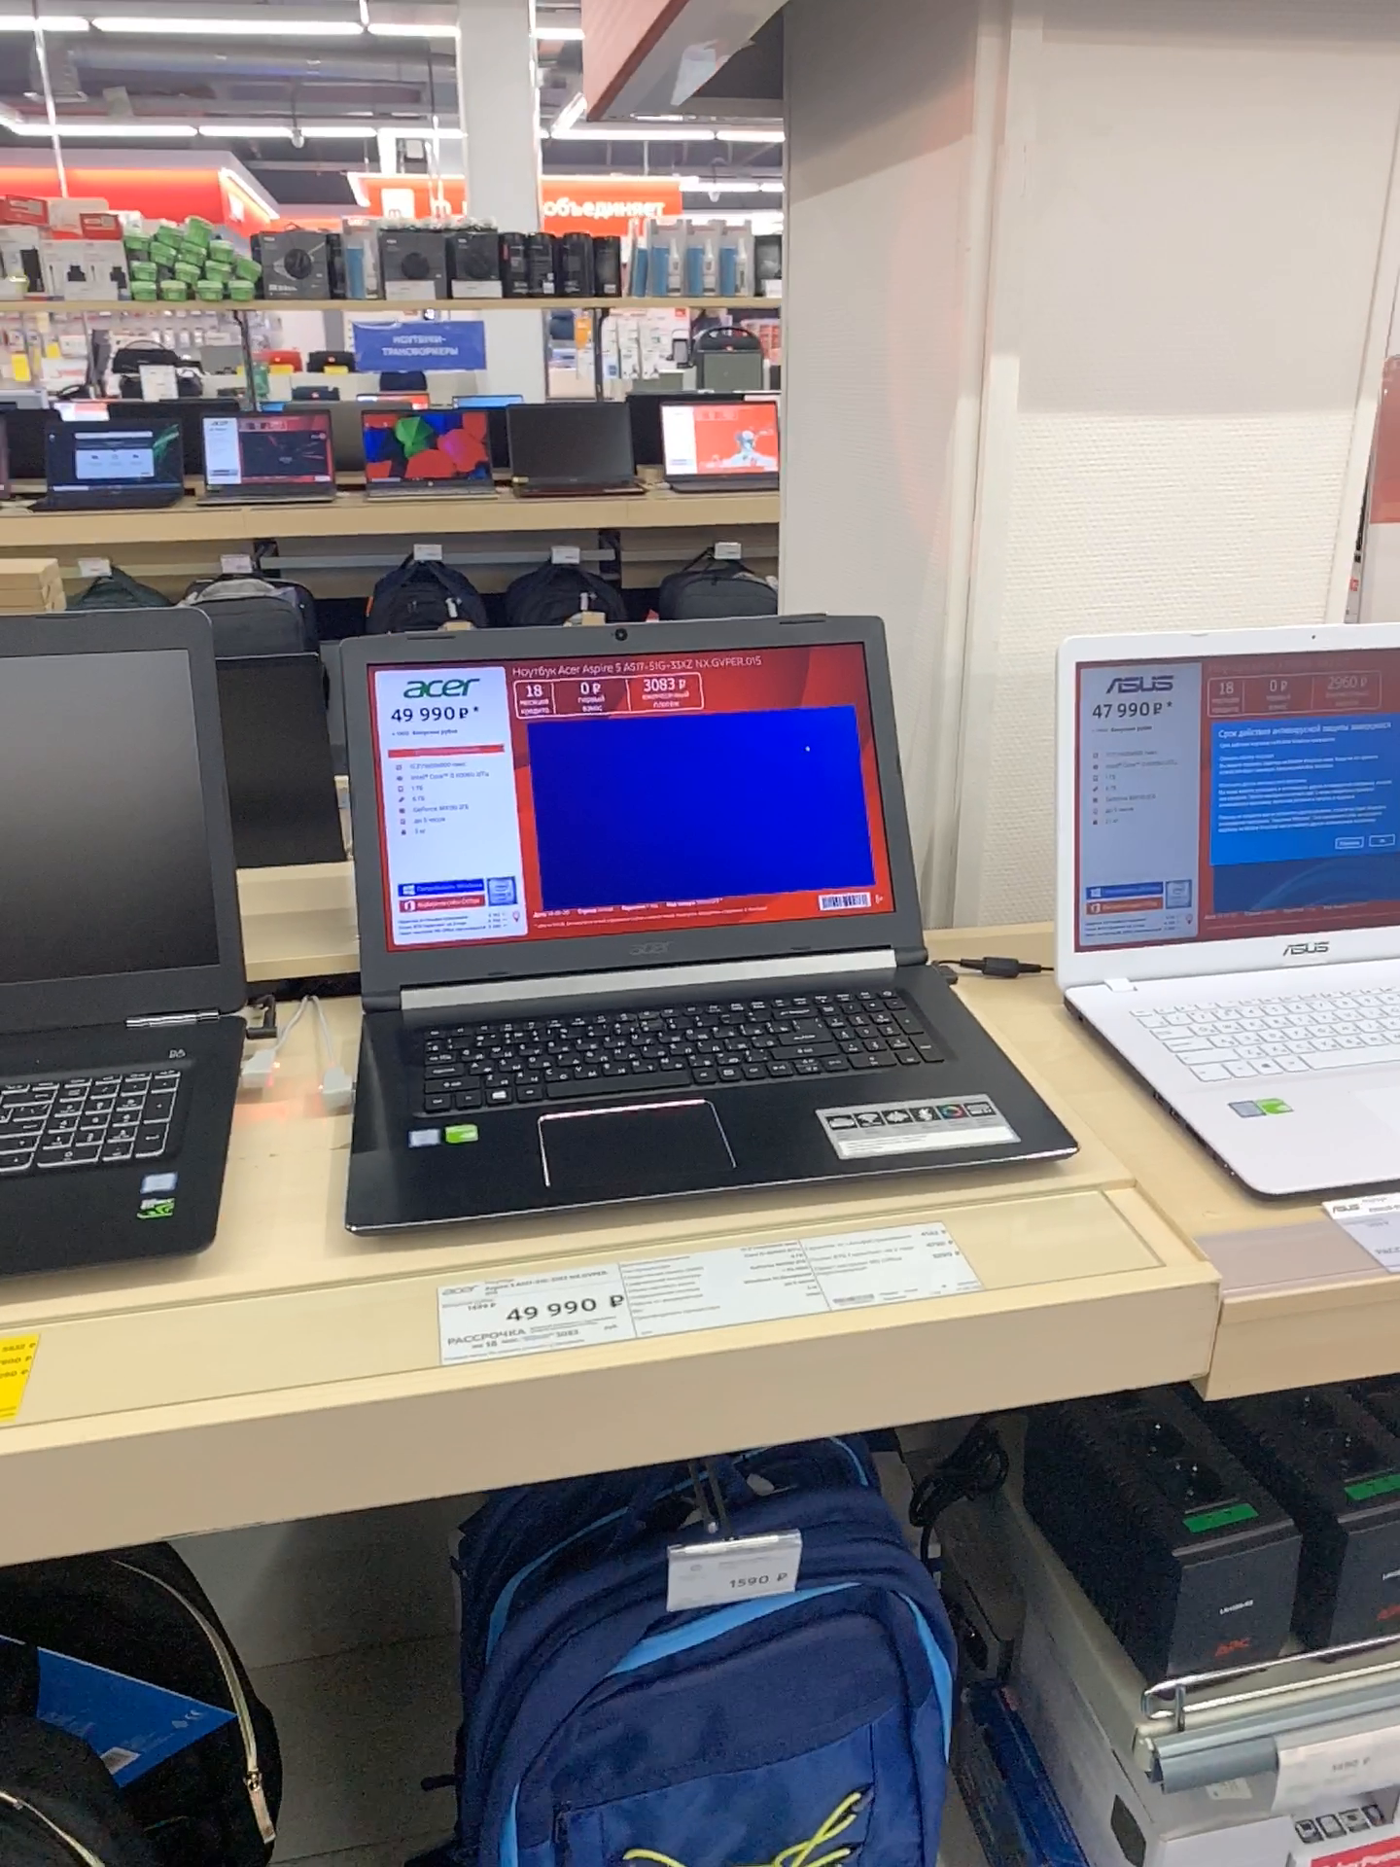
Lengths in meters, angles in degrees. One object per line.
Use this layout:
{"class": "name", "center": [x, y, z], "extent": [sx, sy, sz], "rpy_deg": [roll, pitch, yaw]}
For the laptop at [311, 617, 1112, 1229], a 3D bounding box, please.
{"class": "laptop", "center": [-0.020, -0.047, 0.967], "extent": [0.420, 0.235, 0.422], "rpy_deg": [-5, 23, -10]}
